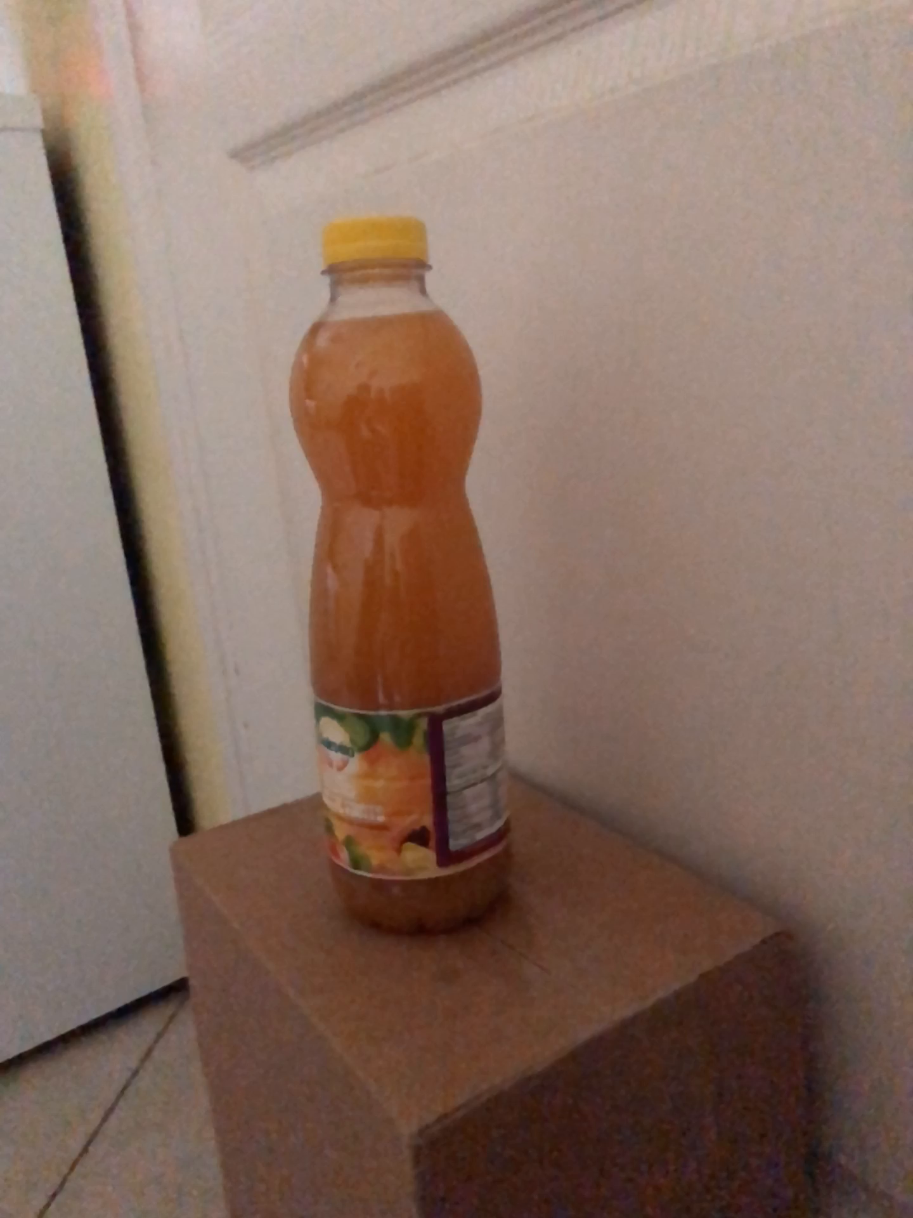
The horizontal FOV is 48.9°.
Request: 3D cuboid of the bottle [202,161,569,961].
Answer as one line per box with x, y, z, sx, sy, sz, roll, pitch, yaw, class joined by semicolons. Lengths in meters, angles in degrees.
-0.021;-0.017;0.395;0.080;0.279;0.080;-5;15;1;bottle
